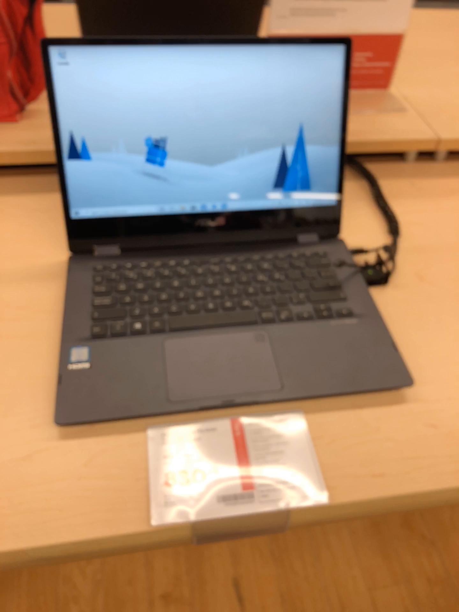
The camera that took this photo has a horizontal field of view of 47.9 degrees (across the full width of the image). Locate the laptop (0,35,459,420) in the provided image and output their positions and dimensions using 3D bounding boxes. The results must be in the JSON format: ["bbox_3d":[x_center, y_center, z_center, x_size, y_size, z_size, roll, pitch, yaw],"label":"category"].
[{"bbox_3d":[-0.007,-0.096,0.488,0.312,0.188,0.314,-4,47,-8],"label":"laptop"}]
